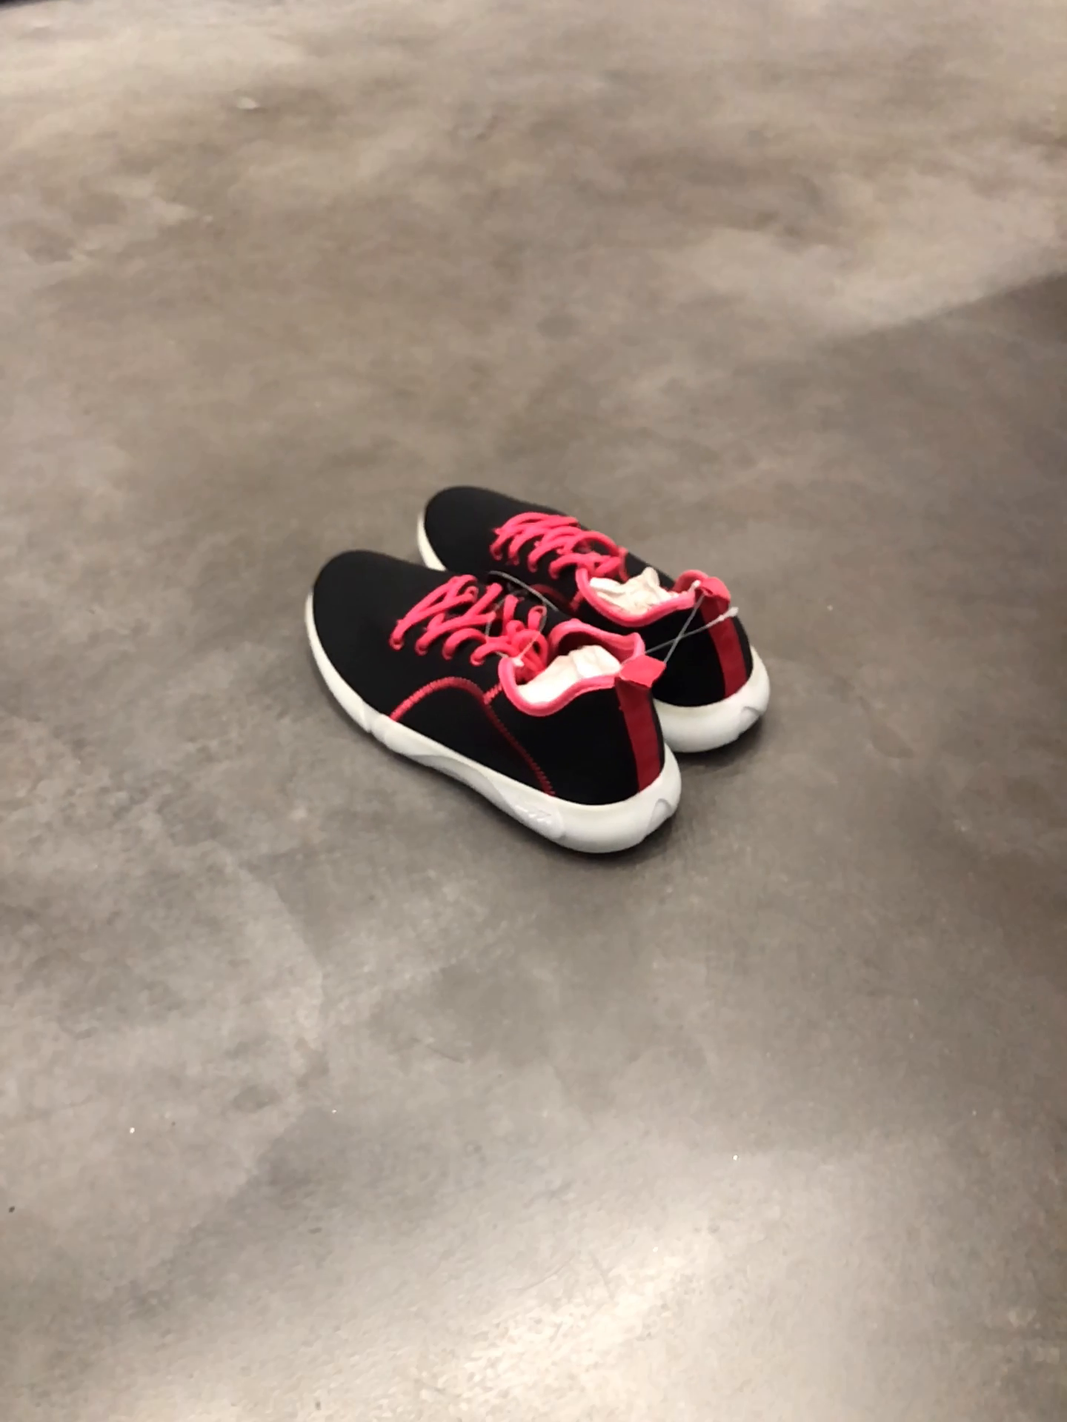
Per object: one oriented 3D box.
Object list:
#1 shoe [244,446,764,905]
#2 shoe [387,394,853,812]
[{"bbox_3d":[-0.019,-0.027,0.569,0.230,0.090,0.100,32,55,29],"label":"shoe"},{"bbox_3d":[0.038,-0.066,0.627,0.100,0.090,0.230,-34,54,-27],"label":"shoe"}]
